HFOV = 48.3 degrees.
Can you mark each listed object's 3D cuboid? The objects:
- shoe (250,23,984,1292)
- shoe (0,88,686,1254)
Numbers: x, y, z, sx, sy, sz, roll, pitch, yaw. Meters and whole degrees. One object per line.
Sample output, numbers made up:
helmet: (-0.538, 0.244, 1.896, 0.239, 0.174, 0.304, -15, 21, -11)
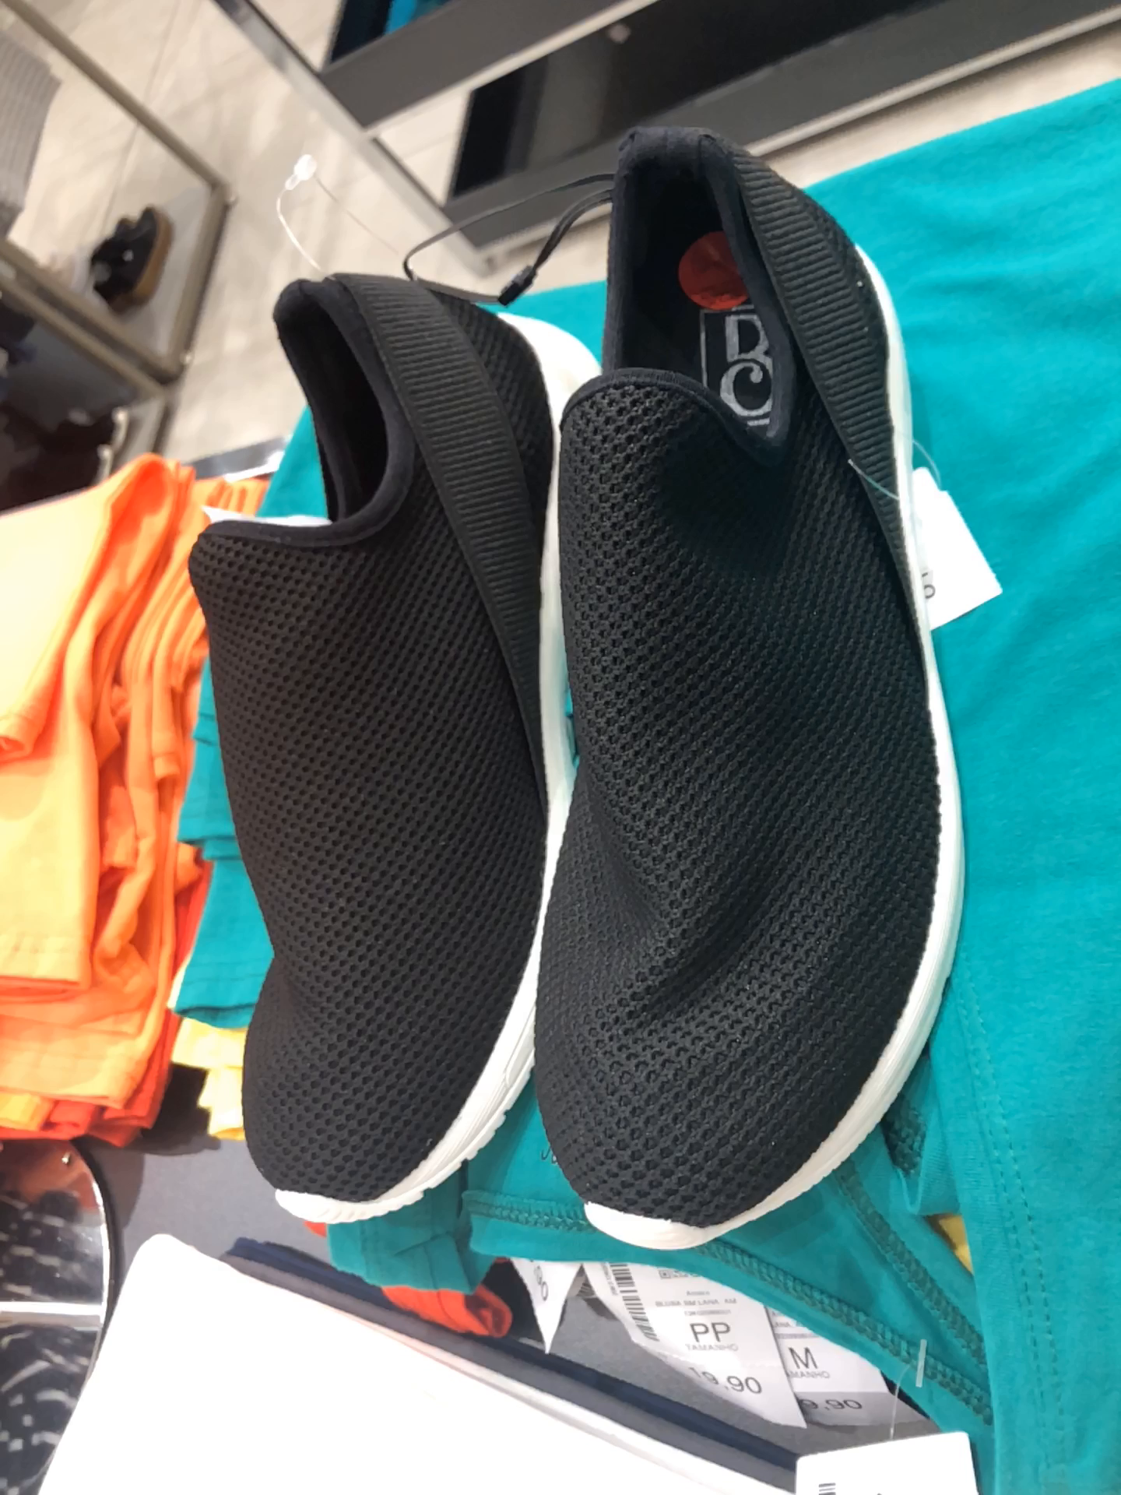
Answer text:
shoe: (0.031, -0.013, 0.289, 0.090, 0.119, 0.240, -6, 66, 35)
shoe: (-0.046, -0.012, 0.332, 0.090, 0.119, 0.260, -6, 69, 35)
